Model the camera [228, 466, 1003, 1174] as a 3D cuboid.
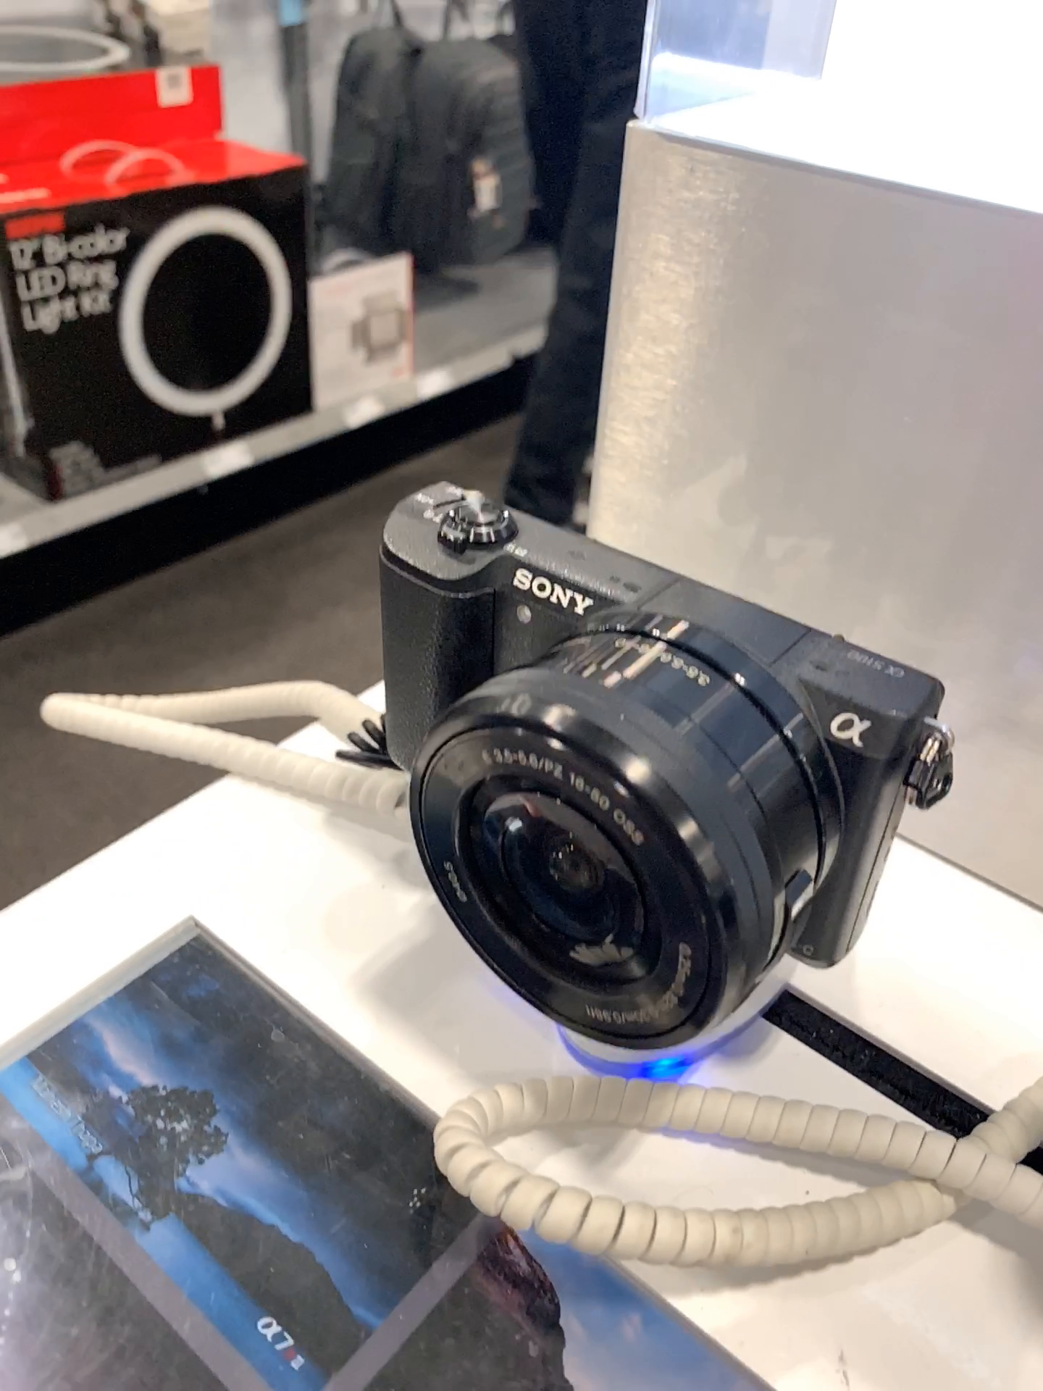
[{"bbox_3d":[0.013,0.014,0.201,0.113,0.060,0.066,27,44,27],"label":"camera"}]
